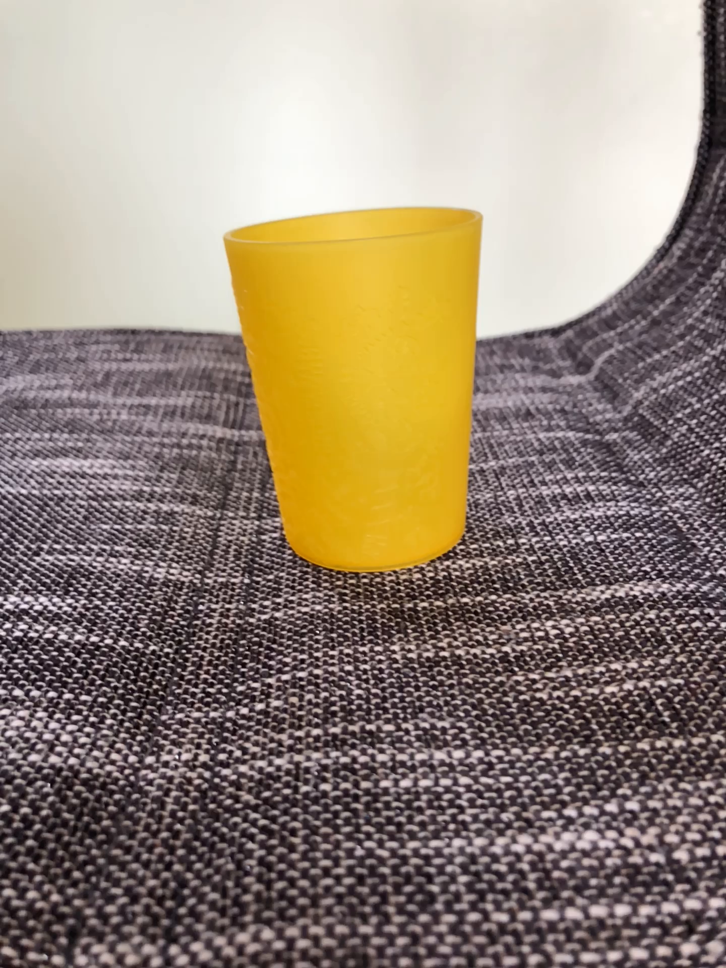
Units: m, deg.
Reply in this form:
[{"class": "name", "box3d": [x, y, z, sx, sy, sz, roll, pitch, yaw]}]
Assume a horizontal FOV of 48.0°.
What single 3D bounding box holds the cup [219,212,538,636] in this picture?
[{"class": "cup", "box3d": [0.002, -0.019, 0.198, 0.060, 0.080, 0.060, -5, 24, 2]}]
